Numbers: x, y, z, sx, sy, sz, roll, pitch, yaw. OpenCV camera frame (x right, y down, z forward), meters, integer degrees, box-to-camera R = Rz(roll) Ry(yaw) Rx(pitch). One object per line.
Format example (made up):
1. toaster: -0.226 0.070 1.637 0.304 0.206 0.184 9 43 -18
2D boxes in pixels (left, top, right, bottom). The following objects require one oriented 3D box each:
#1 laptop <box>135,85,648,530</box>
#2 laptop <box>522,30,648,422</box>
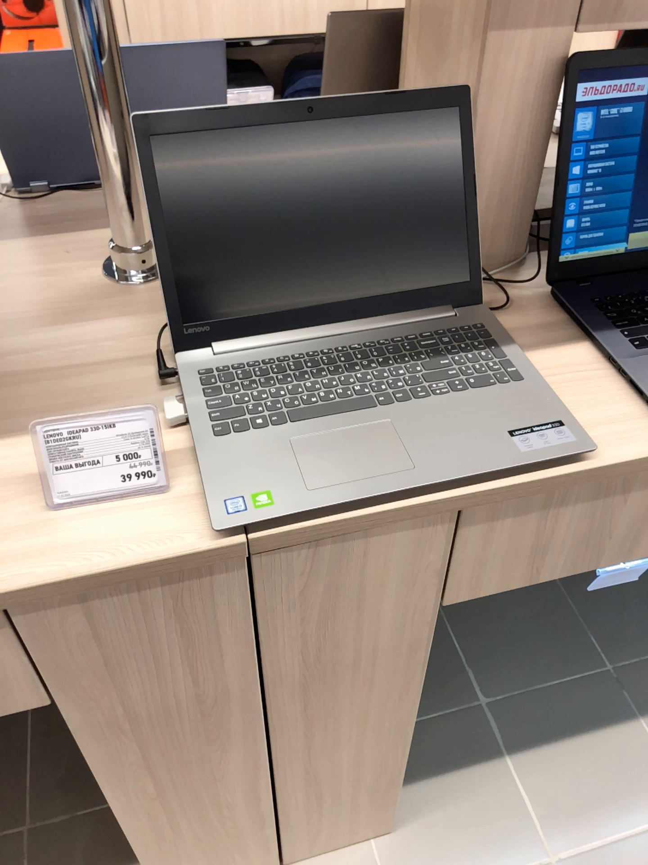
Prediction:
1. laptop: 0.036 -0.151 0.695 0.370 0.208 0.367 -11 44 -11
2. laptop: 0.507 -0.244 0.779 0.403 0.246 0.335 -10 44 -12
